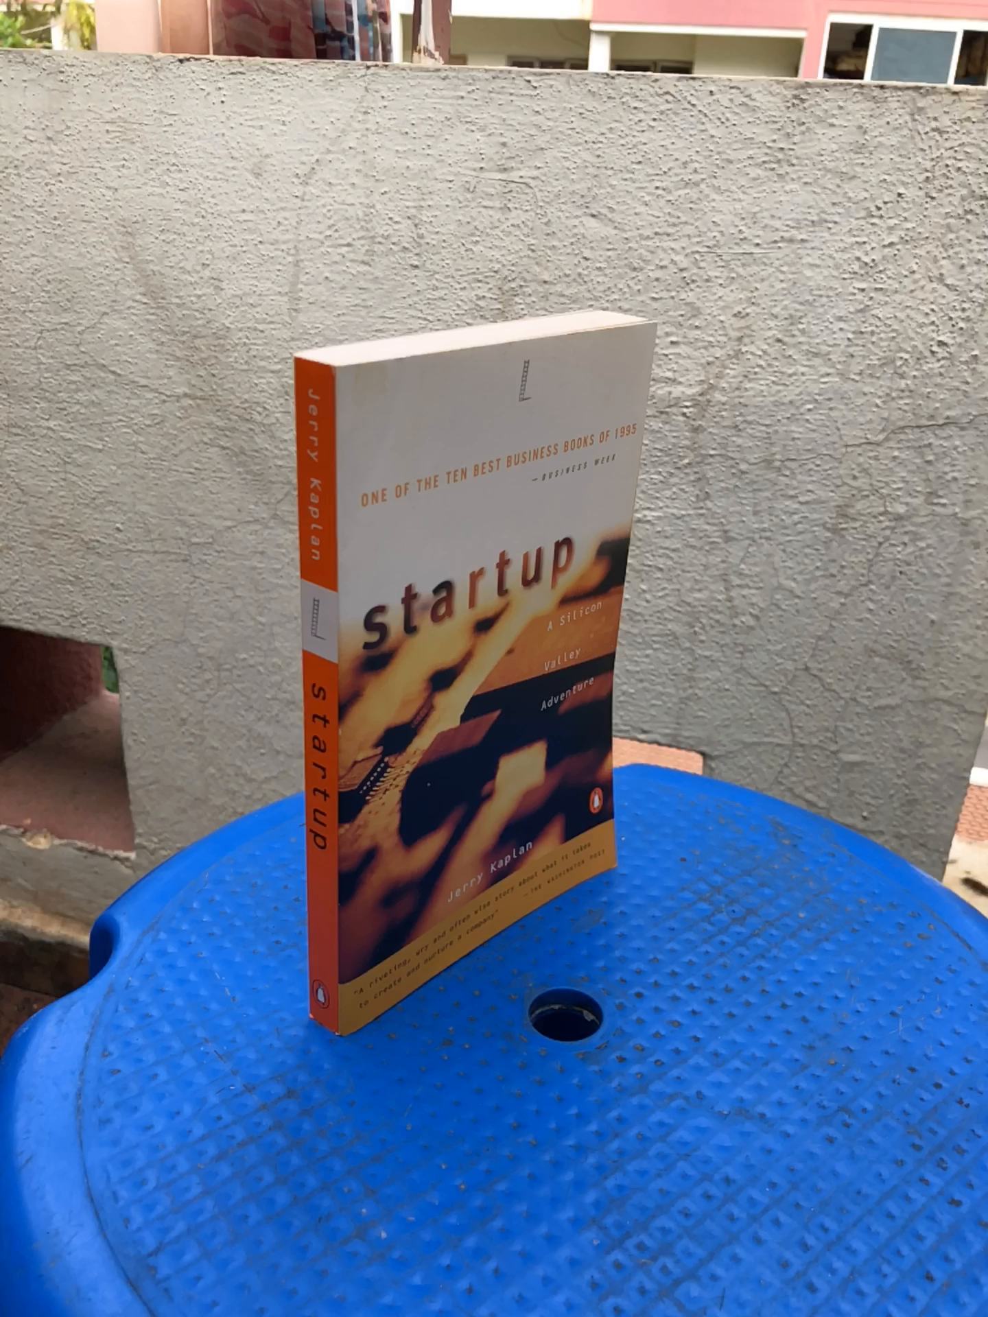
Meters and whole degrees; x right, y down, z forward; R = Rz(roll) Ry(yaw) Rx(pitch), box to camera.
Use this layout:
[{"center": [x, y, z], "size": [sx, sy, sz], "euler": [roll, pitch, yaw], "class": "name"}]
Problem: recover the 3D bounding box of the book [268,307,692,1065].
[{"center": [-0.001, 0.003, 0.337], "size": [0.030, 0.199, 0.140], "euler": [21, 30, 35], "class": "book"}]
